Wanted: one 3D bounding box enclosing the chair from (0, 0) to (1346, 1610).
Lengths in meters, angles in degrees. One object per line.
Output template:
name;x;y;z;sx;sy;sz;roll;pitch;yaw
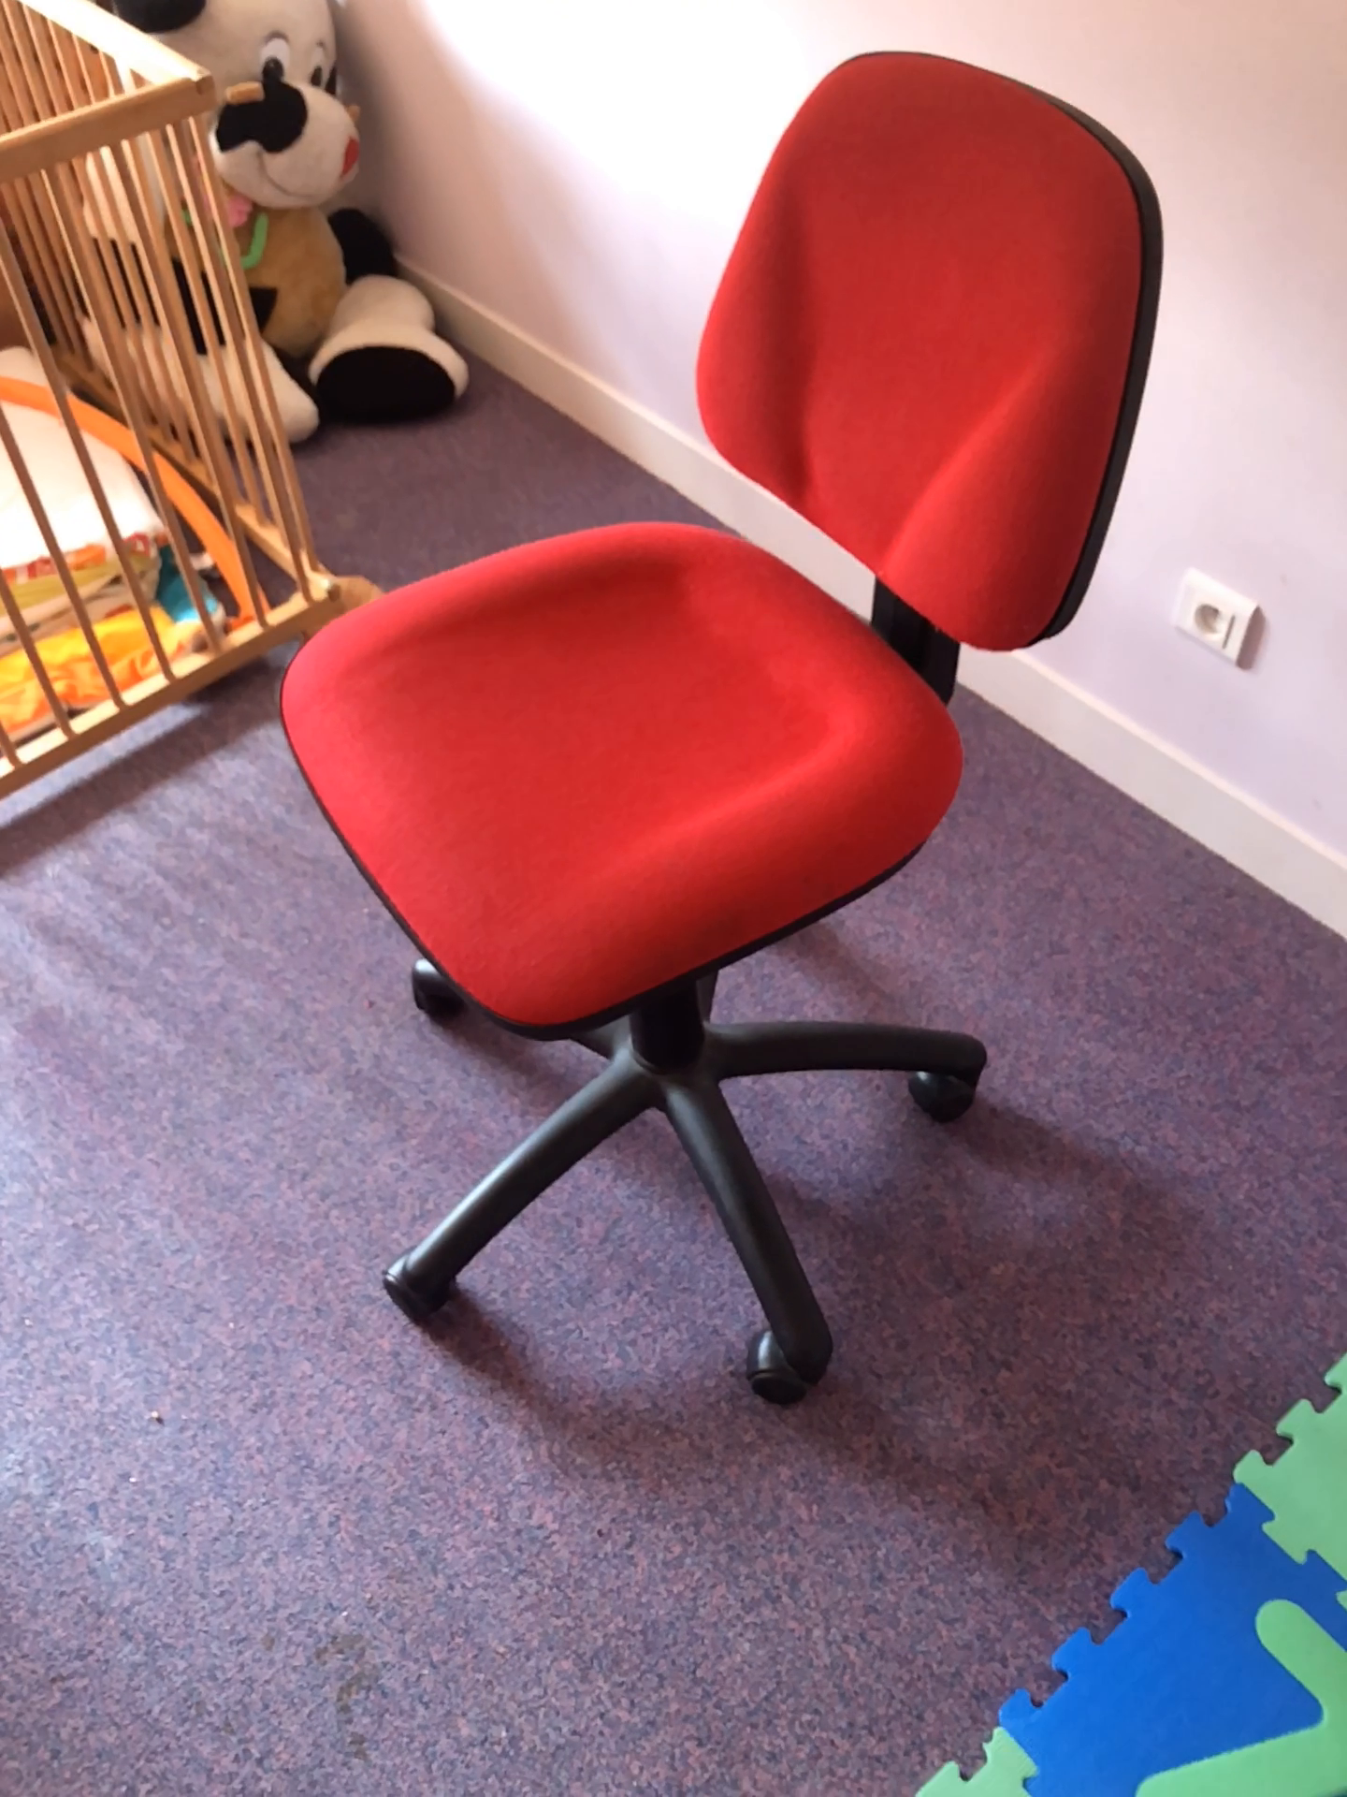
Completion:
chair;-0.017;-0.091;1.100;0.672;0.895;0.642;-26;52;-20
